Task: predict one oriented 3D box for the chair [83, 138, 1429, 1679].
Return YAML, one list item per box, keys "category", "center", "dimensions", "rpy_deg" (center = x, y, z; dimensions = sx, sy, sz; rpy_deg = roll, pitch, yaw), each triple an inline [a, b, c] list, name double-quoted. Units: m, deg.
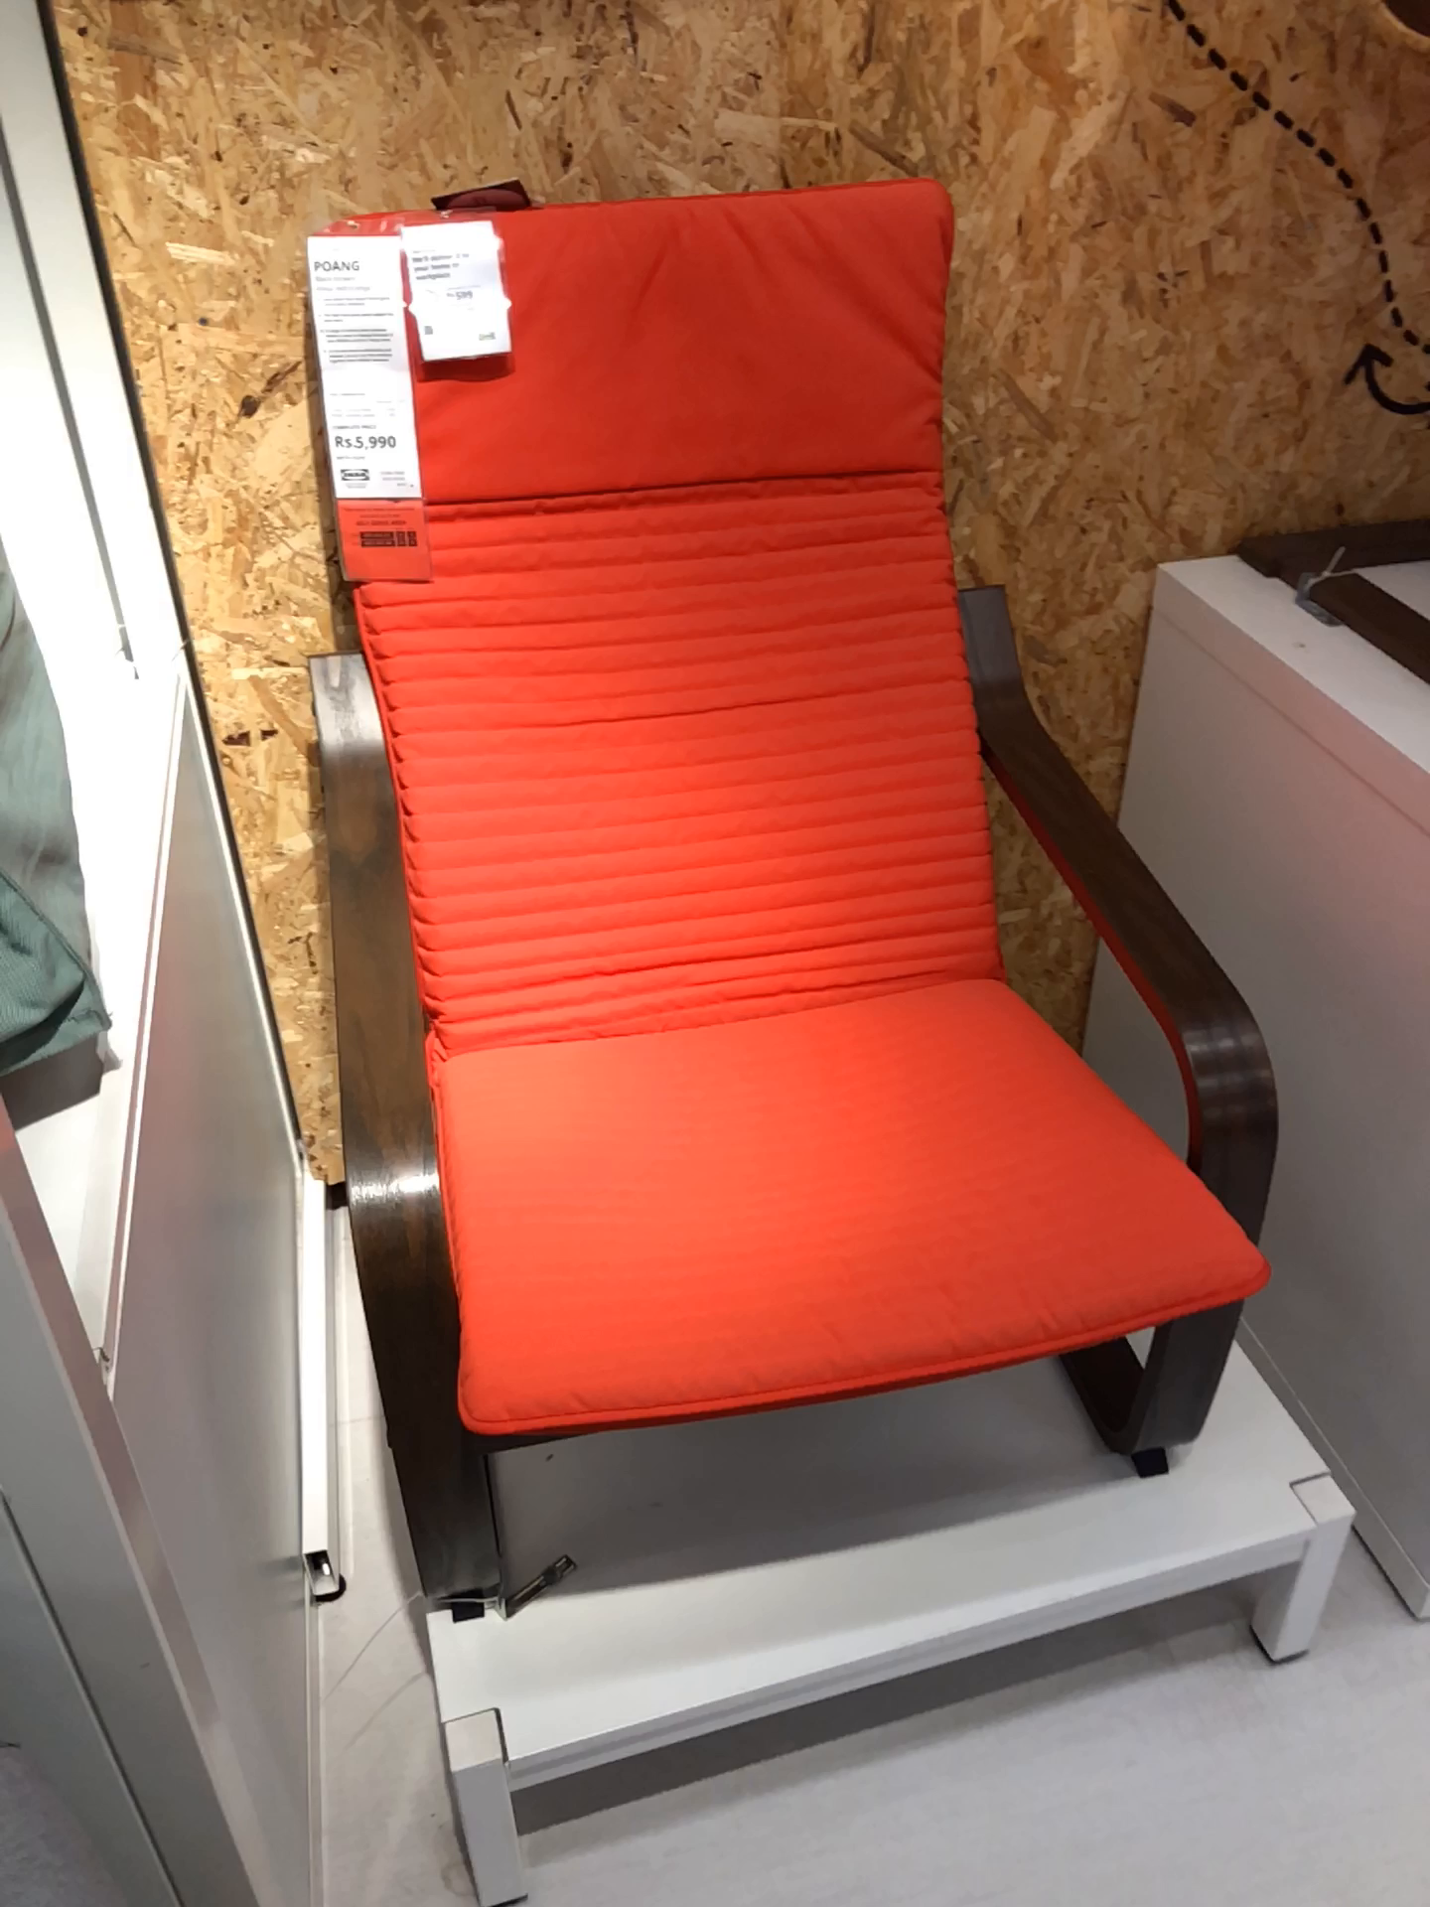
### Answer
- category: "chair"
  center: [0.017, -0.101, 1.298]
  dimensions: [0.750, 0.894, 0.795]
  rpy_deg: [-8, 36, -10]
